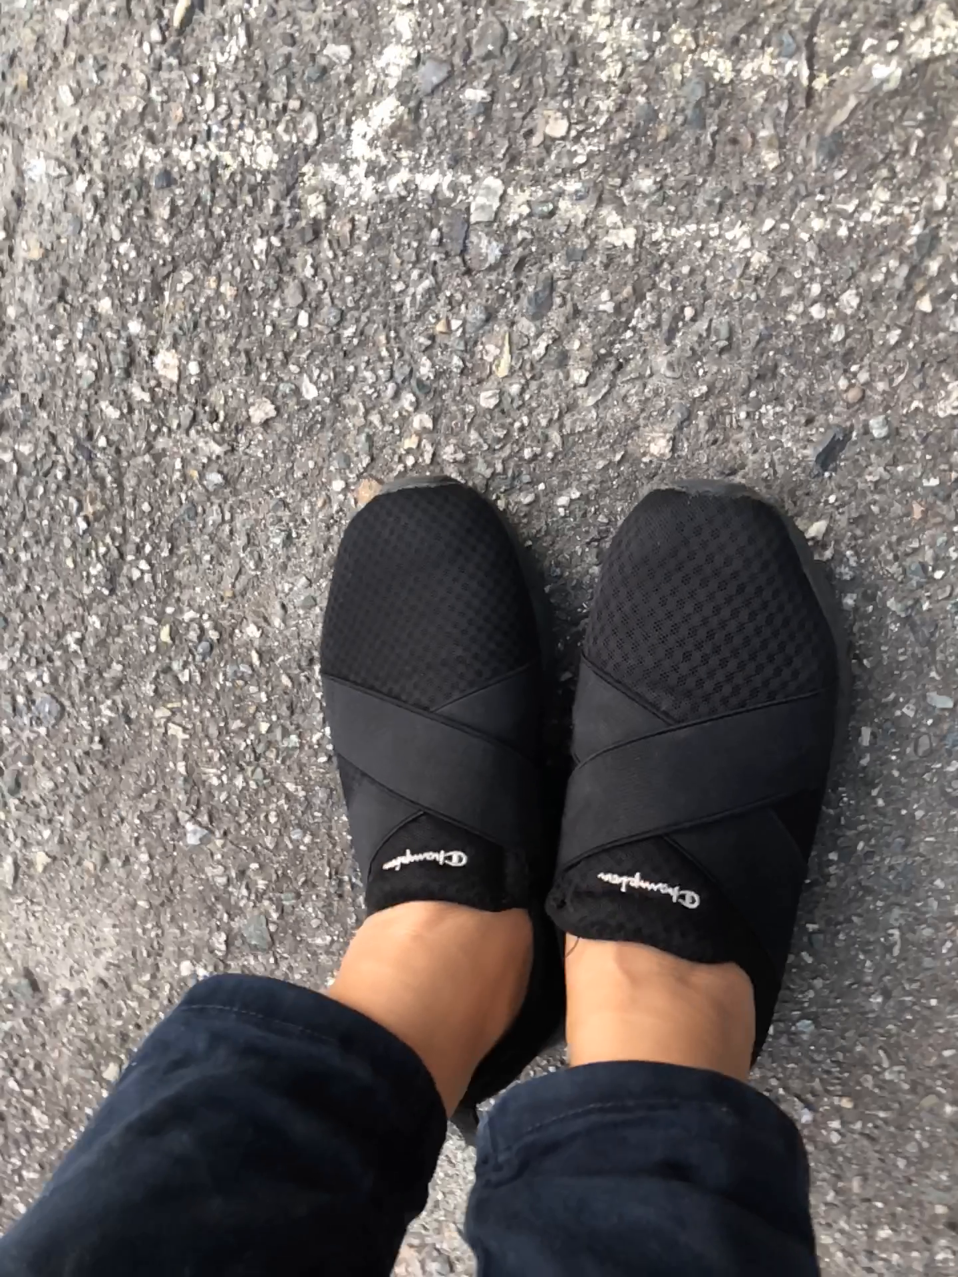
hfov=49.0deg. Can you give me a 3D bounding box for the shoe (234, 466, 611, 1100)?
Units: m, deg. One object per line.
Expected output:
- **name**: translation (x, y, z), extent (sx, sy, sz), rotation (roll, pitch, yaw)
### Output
- **shoe**: translation (-0.013, 0.053, 0.398), extent (0.100, 0.070, 0.220), rotation (-2, 105, 16)

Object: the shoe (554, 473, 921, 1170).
- **shoe**: translation (0.085, 0.058, 0.371), extent (0.100, 0.080, 0.220), rotation (4, 106, 14)
